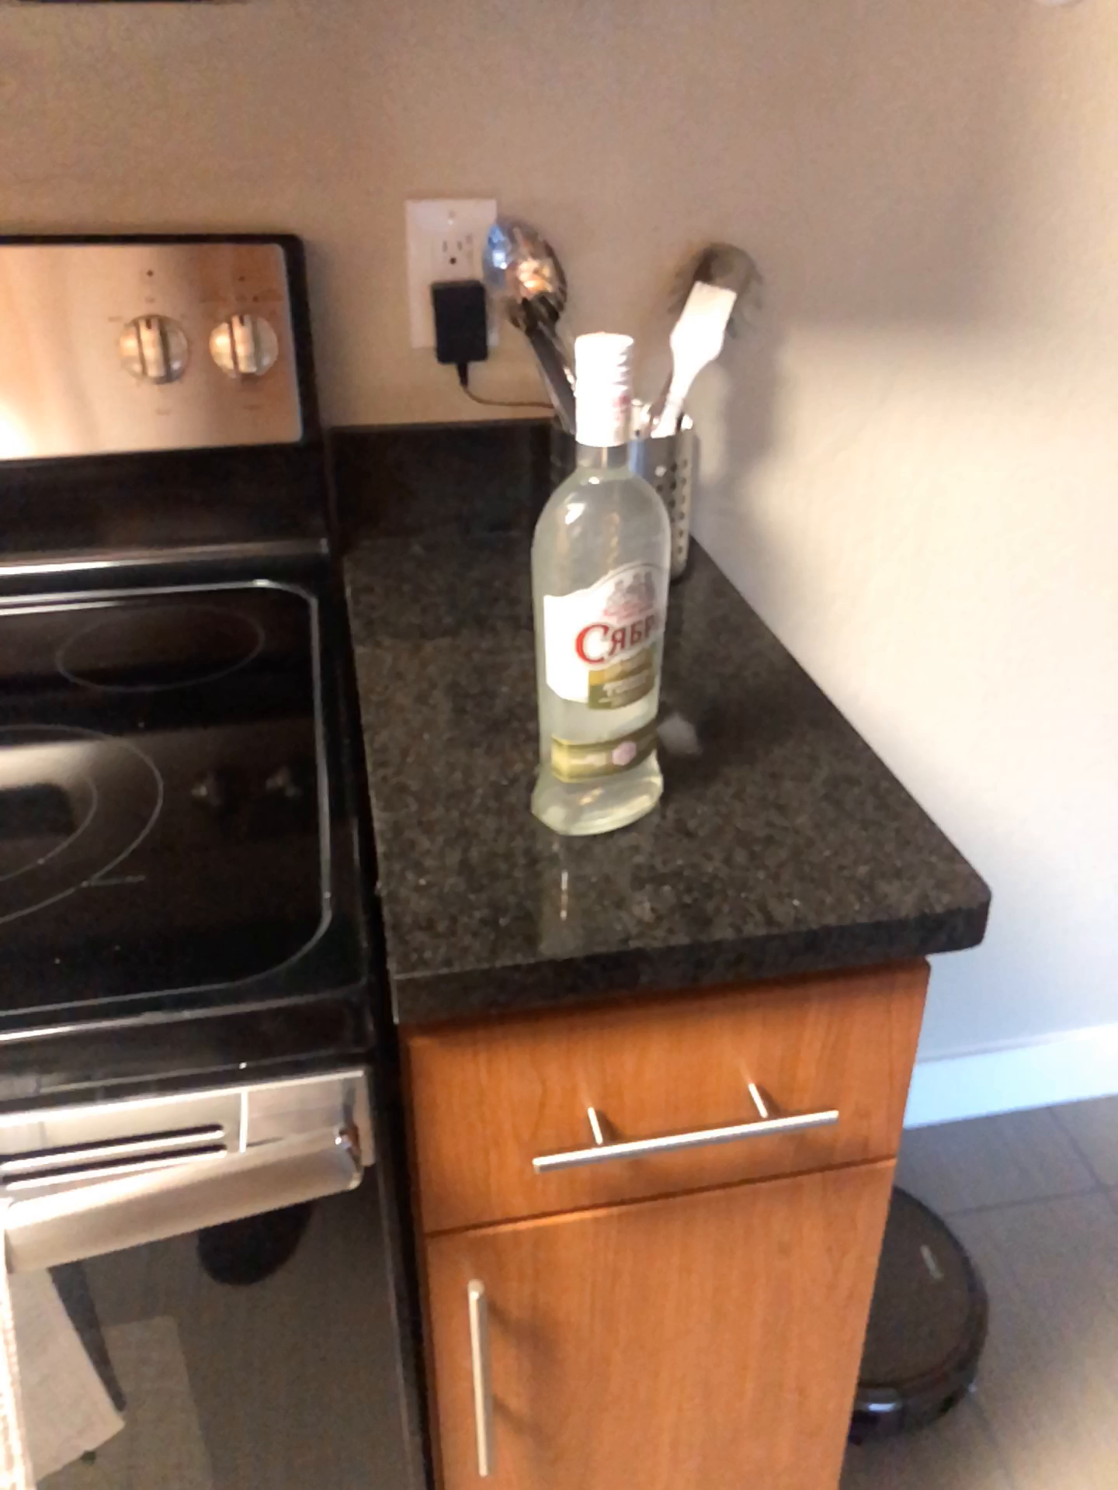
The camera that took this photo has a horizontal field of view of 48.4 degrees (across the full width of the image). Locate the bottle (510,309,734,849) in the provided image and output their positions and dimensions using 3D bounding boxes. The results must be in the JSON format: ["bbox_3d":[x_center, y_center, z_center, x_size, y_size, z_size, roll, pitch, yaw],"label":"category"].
[{"bbox_3d":[0.030,-0.084,0.666,0.090,0.269,0.060,-16,32,-27],"label":"bottle"}]
